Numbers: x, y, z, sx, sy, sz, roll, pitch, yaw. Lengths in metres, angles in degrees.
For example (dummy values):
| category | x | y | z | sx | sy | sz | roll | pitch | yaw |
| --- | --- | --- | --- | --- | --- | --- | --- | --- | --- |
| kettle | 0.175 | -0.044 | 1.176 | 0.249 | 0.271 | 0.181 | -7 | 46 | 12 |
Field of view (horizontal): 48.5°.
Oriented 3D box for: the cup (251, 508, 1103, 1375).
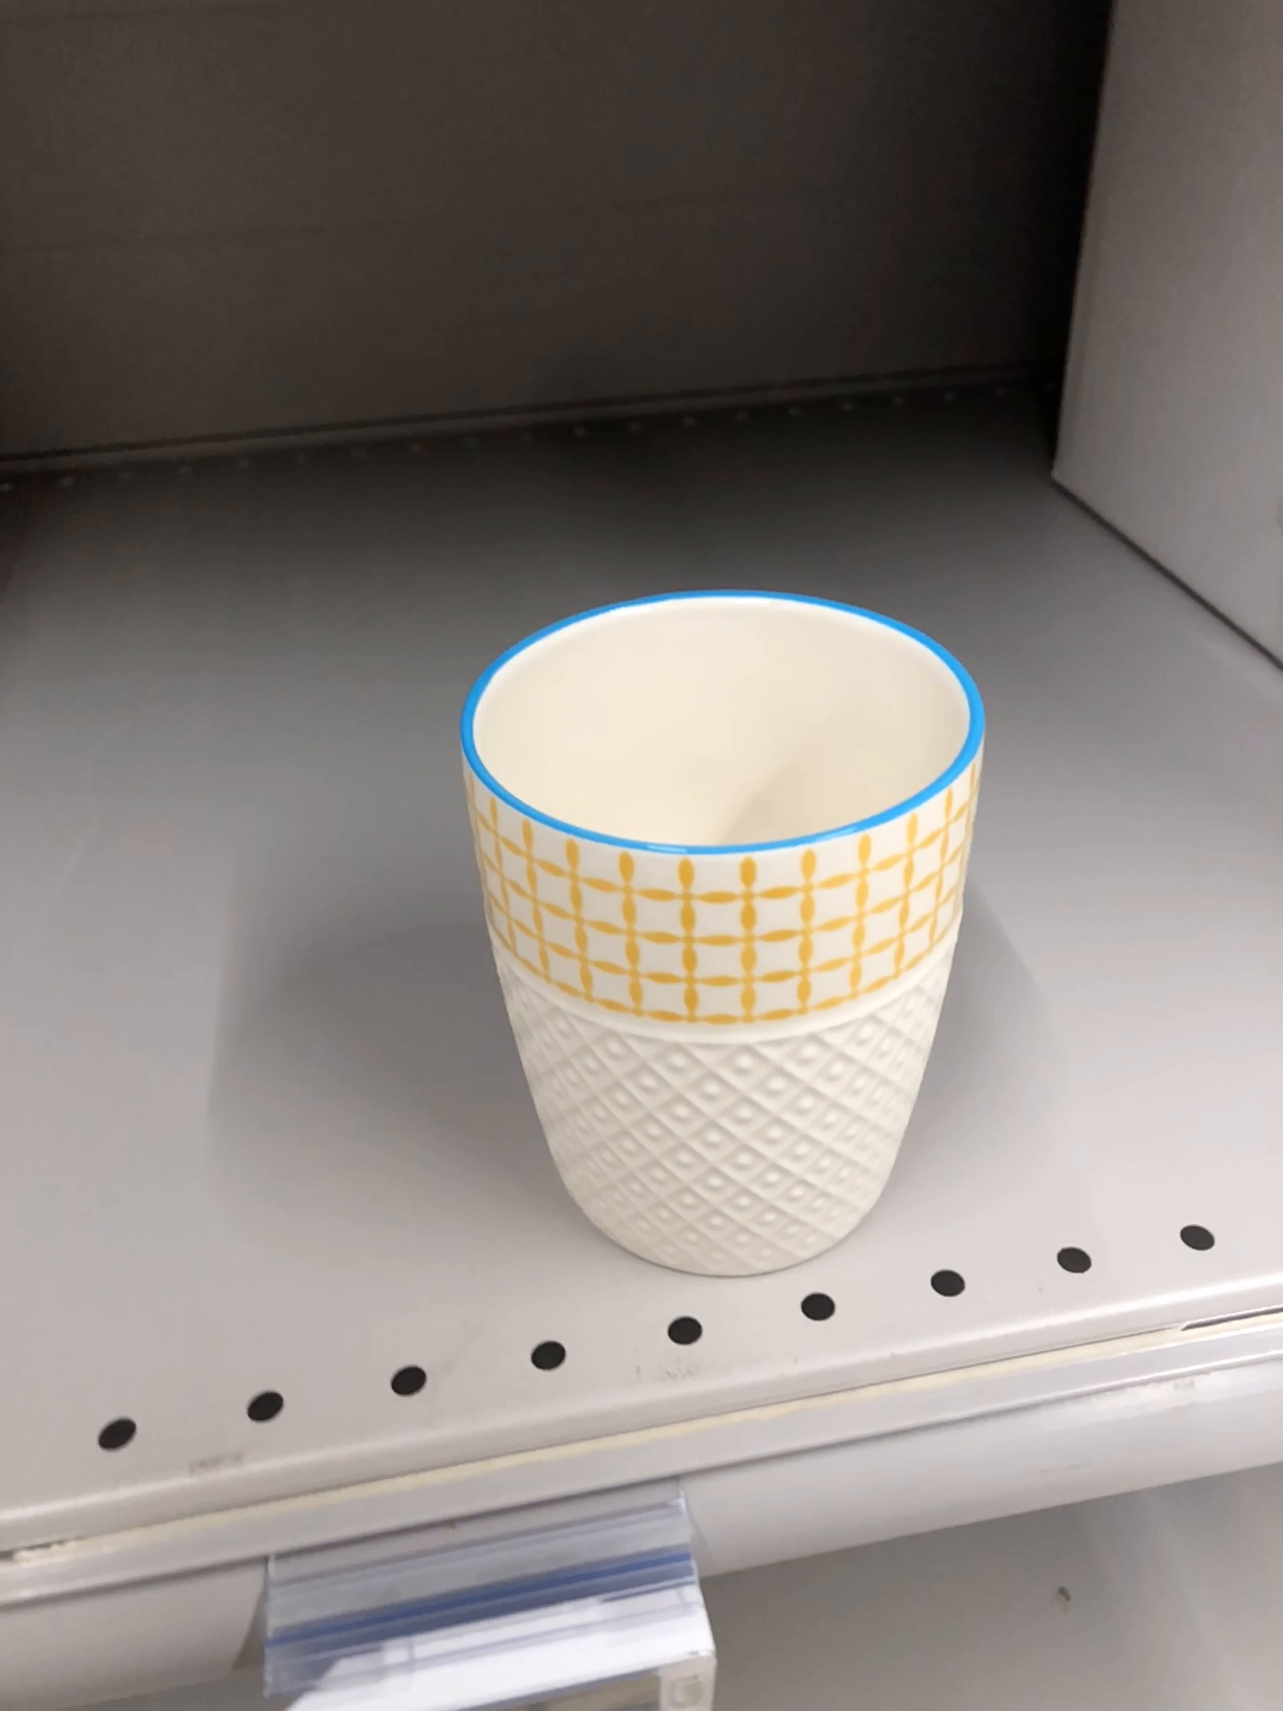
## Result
| category | x | y | z | sx | sy | sz | roll | pitch | yaw |
| --- | --- | --- | --- | --- | --- | --- | --- | --- | --- |
| cup | 0.017 | 0.004 | 0.267 | 0.105 | 0.092 | 0.118 | 11 | 38 | 25 |
